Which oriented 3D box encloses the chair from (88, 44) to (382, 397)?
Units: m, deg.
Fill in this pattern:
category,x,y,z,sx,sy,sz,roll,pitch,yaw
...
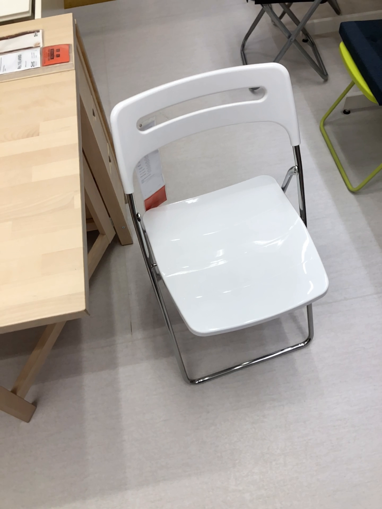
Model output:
category,x,y,z,sx,sy,sz,roll,pitch,yaw
chair,0.096,-0.016,1.041,0.440,0.716,0.422,-17,57,-6
